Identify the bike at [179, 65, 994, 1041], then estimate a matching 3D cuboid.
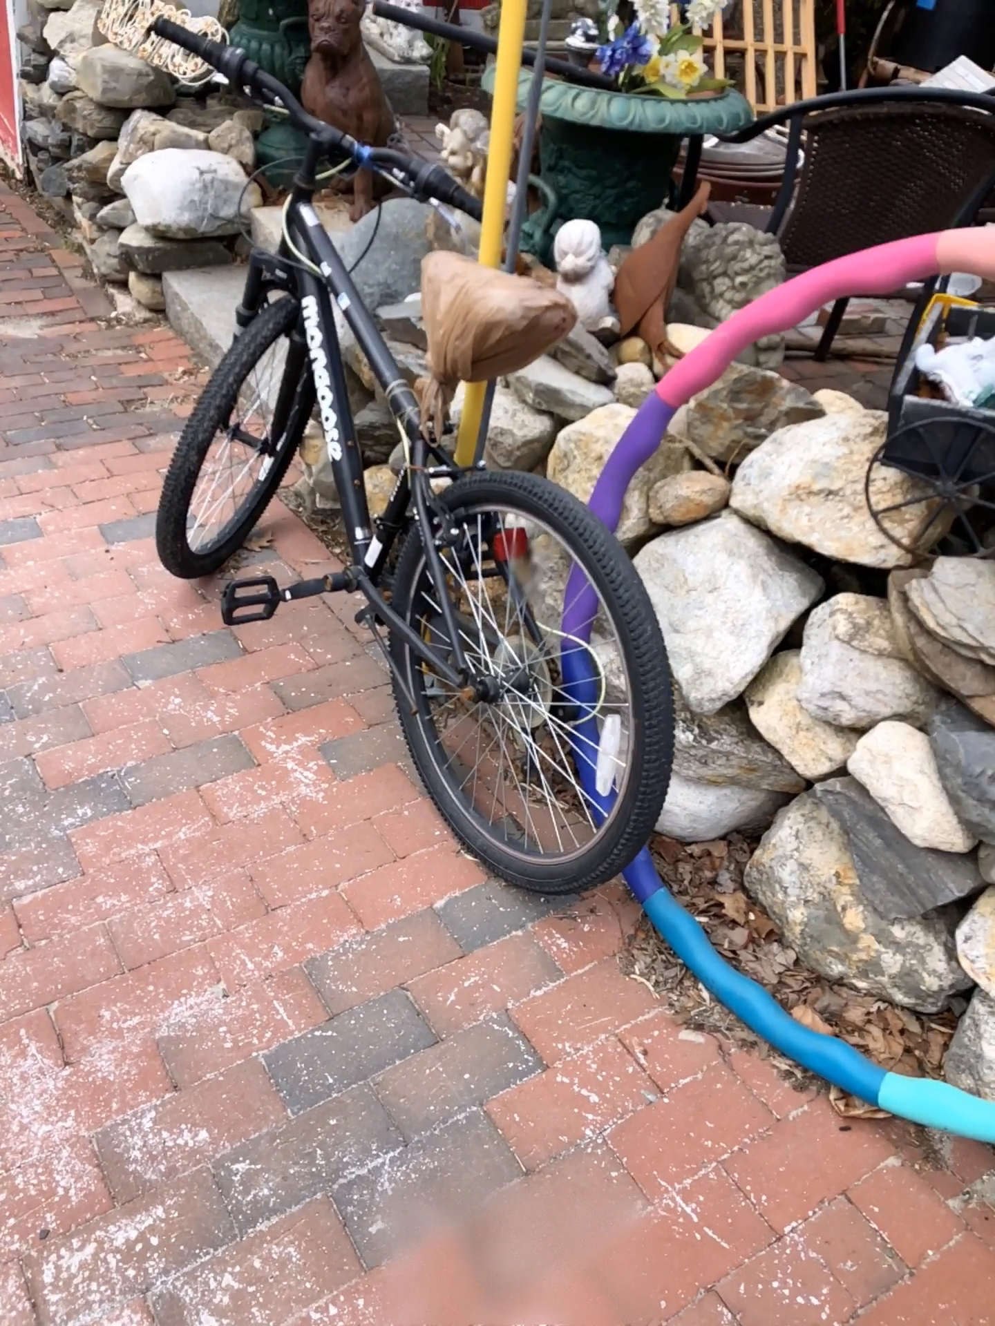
[{"bbox_3d":[-0.041,-0.346,1.773,0.633,0.873,1.415,-12,43,-24],"label":"bike"}]
